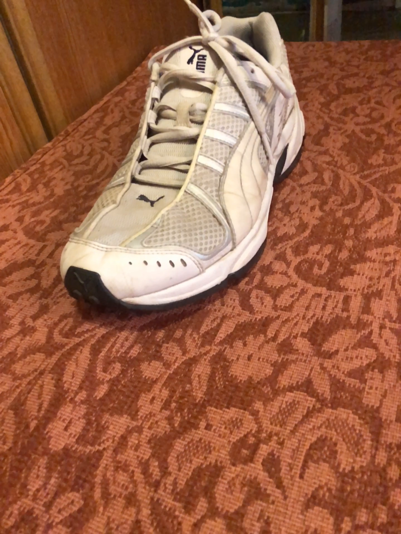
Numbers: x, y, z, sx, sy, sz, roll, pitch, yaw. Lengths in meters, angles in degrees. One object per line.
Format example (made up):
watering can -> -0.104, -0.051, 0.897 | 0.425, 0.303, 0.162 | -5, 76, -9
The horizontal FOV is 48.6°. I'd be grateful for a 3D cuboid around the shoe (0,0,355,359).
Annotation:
shoe -> 0.009, -0.096, 0.305 | 0.120, 0.100, 0.291 | 12, 46, 25
